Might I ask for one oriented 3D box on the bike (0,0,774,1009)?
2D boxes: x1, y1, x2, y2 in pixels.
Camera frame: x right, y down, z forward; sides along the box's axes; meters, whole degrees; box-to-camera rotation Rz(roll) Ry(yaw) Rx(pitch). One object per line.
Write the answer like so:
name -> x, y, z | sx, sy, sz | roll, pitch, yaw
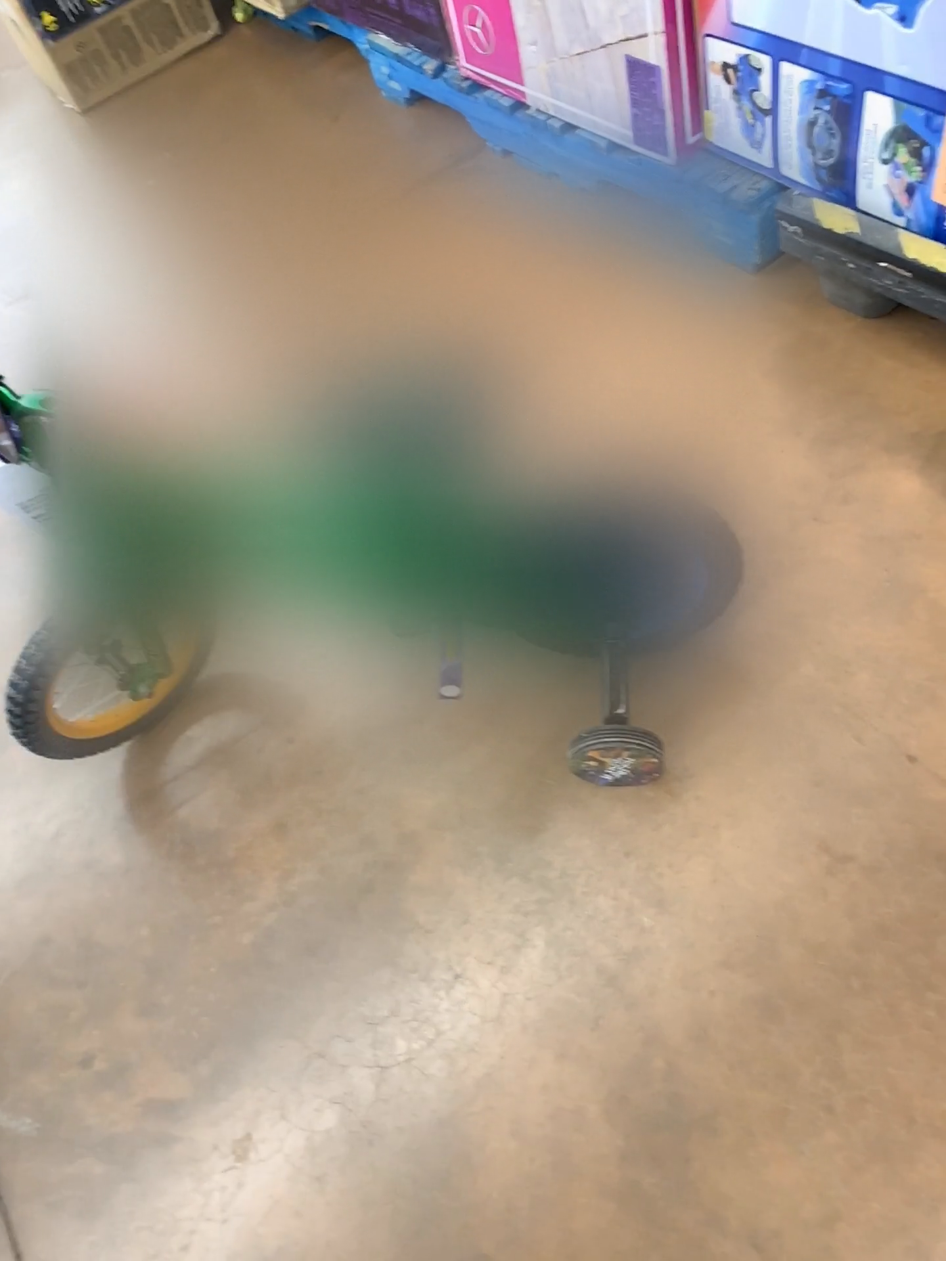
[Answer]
bike -> -0.175, -0.076, 0.902 | 0.829, 0.677, 0.533 | -10, 53, 9
